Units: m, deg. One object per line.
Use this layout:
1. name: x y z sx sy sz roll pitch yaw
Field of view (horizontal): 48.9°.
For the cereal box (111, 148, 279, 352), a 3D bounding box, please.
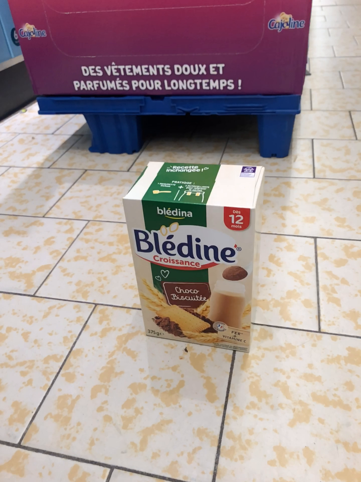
1. cereal box: 0.023 0.010 0.397 0.130 0.179 0.081 6 37 15
